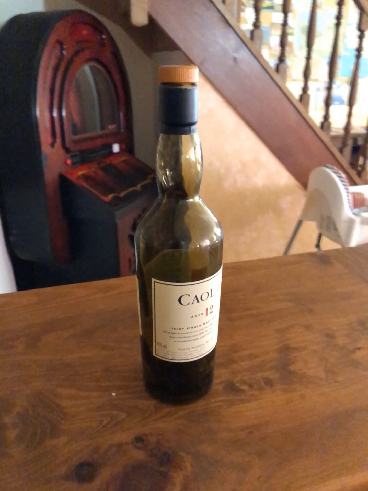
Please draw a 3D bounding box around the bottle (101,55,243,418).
[{"bbox_3d":[-0.008,-0.002,0.358,0.070,0.298,0.080,17,29,34],"label":"bottle"}]
